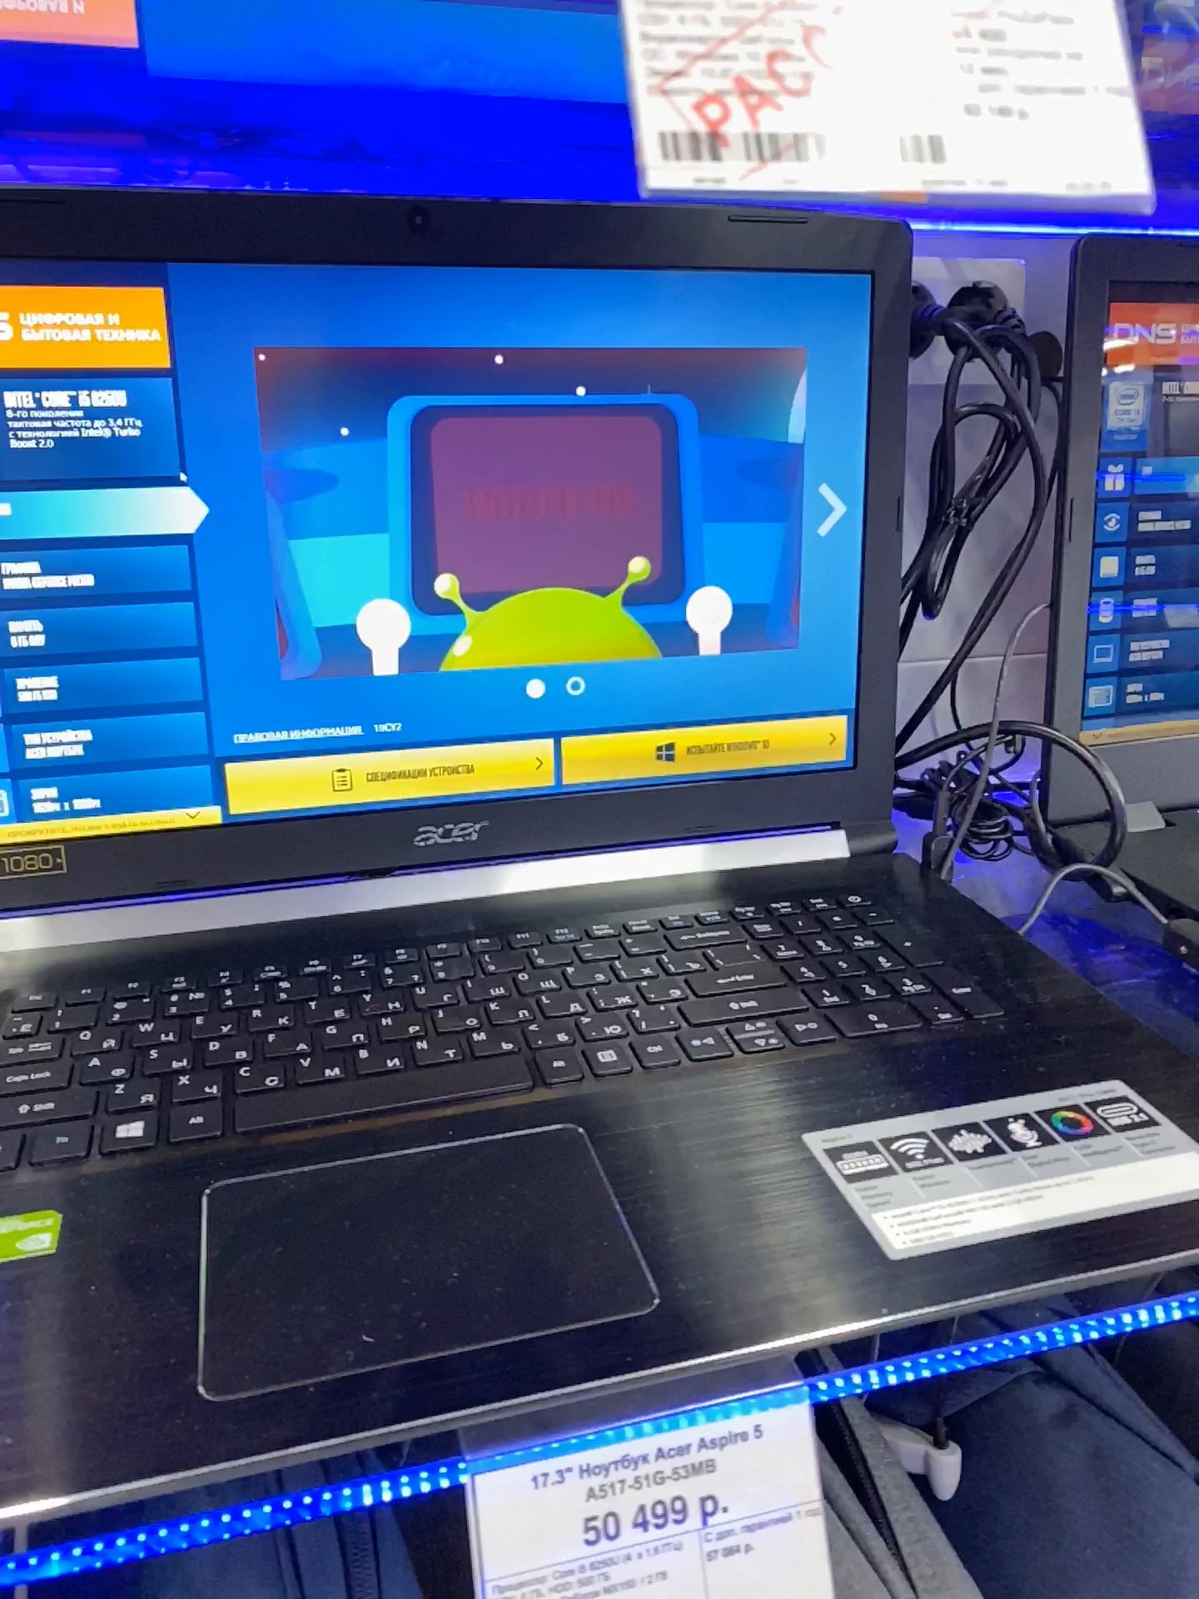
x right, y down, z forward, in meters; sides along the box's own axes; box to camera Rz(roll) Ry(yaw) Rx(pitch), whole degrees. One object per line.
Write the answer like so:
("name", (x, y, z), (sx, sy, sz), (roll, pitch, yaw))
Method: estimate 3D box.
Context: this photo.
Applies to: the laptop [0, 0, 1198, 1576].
("laptop", (-0.033, -0.053, 0.382), (0.424, 0.278, 0.312), (-5, 19, -15))
